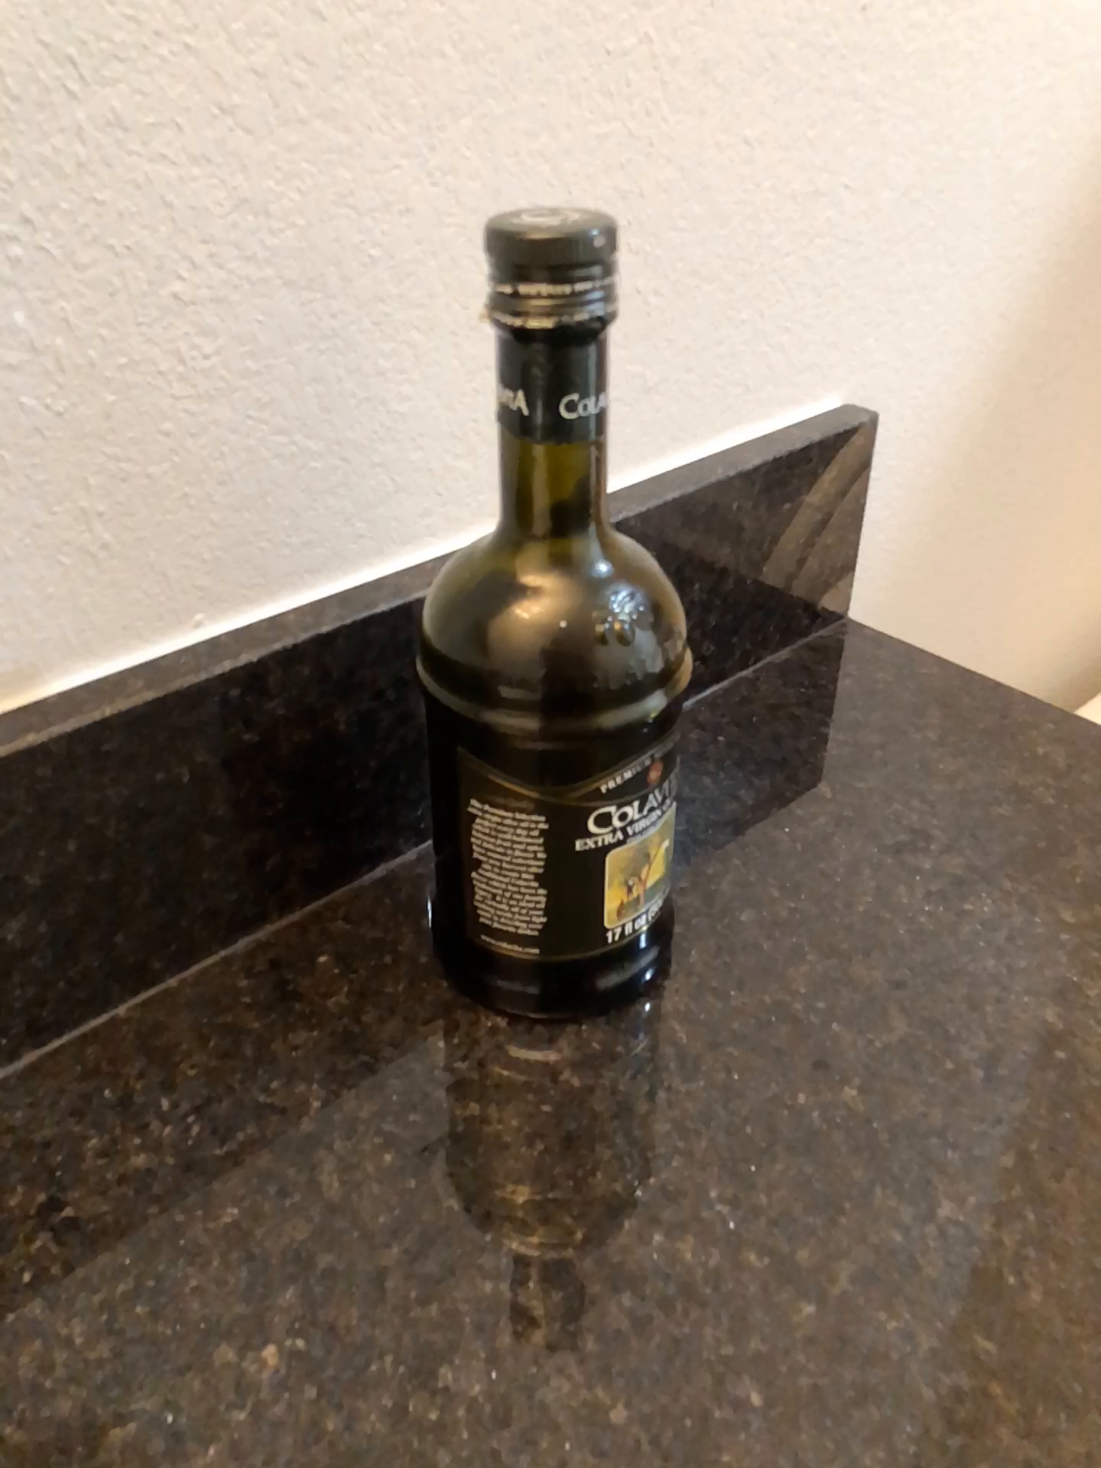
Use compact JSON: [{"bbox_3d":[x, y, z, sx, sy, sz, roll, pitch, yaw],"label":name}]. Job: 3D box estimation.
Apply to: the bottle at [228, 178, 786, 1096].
[{"bbox_3d":[-0.010,-0.024,0.338,0.090,0.219,0.090,0,33,0],"label":"bottle"}]
